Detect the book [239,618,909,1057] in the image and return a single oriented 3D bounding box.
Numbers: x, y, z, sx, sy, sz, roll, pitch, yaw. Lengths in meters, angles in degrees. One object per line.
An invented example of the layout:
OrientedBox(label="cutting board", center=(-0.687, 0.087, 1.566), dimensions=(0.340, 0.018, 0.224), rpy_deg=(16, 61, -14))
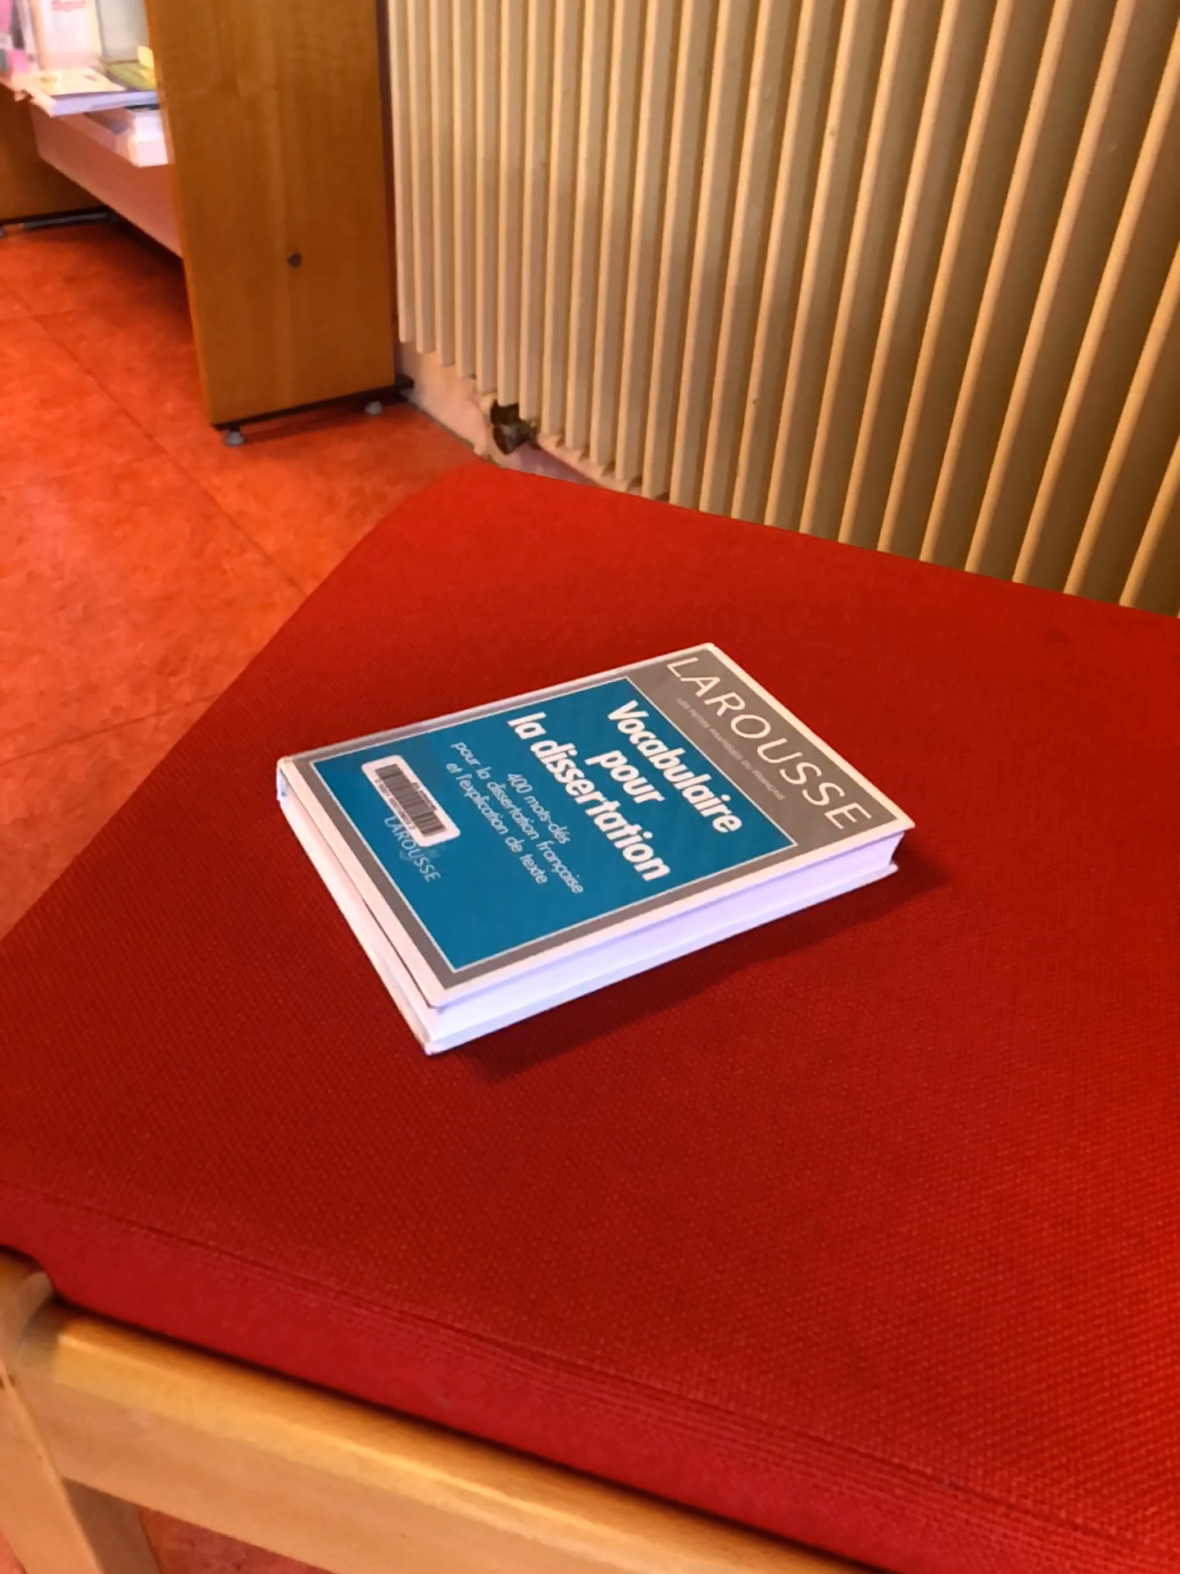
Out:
OrientedBox(label="book", center=(-0.007, 0.005, 0.473), dimensions=(0.199, 0.030, 0.137), rpy_deg=(-17, 44, -27))
